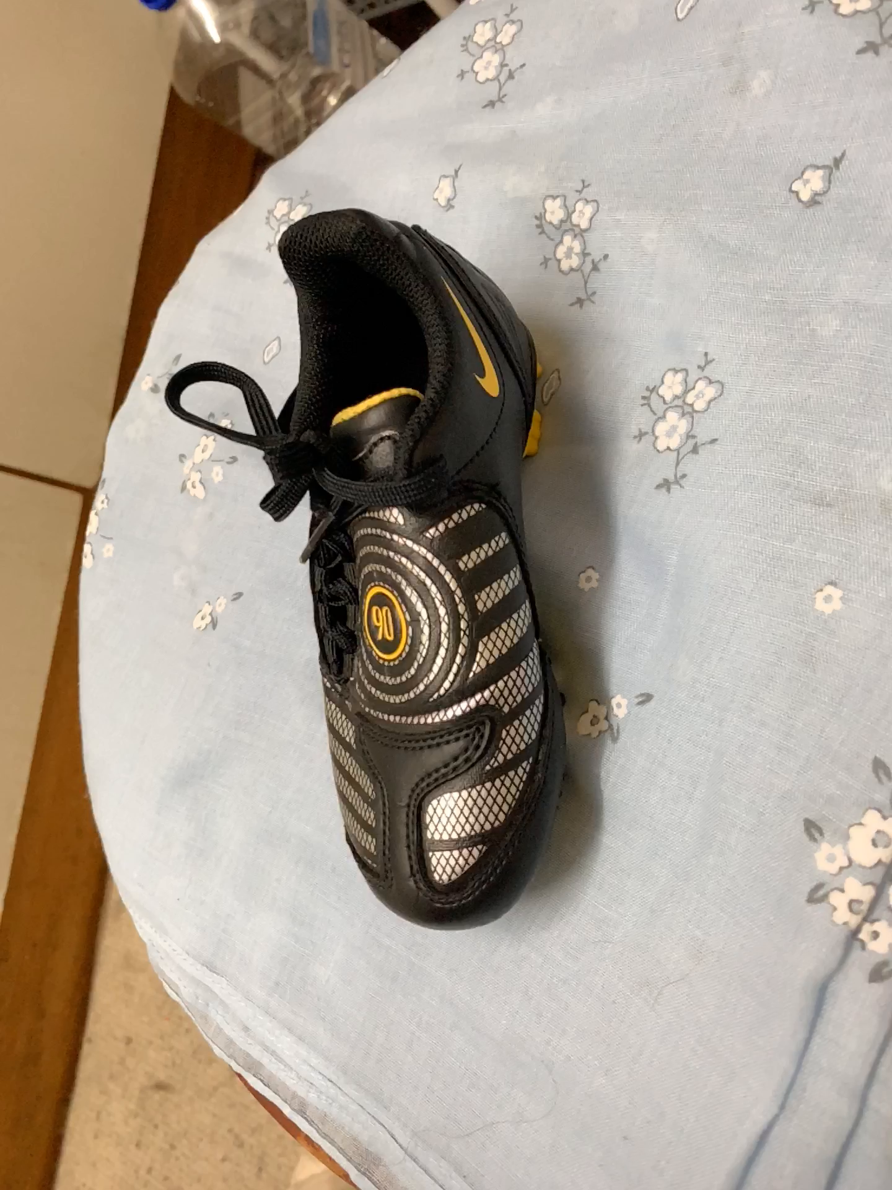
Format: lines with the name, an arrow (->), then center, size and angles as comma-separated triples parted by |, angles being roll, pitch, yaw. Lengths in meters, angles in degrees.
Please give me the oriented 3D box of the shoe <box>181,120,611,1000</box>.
shoe -> -0.008, -0.007, 0.245 | 0.080, 0.070, 0.190 | -5, 77, 35
